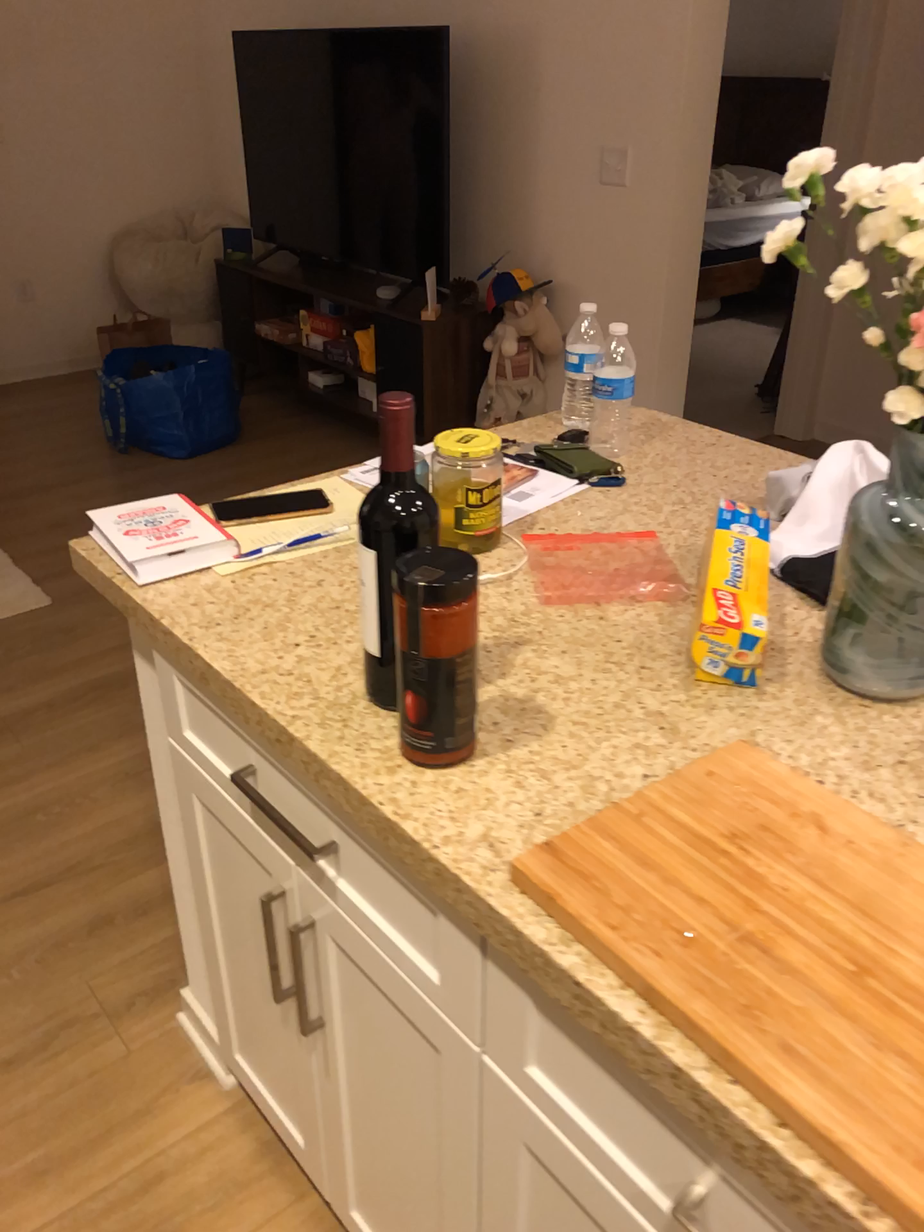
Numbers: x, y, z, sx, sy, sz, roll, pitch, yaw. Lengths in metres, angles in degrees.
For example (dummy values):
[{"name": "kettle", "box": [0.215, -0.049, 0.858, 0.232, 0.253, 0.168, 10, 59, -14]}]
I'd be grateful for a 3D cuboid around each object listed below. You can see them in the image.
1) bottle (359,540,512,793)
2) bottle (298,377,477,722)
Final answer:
[{"name": "bottle", "box": [-0.022, 0.042, 0.888, 0.090, 0.179, 0.090, 0, 28, 0]}, {"name": "bottle", "box": [-0.063, -0.062, 0.940, 0.110, 0.278, 0.111, 0, 28, 0]}]
